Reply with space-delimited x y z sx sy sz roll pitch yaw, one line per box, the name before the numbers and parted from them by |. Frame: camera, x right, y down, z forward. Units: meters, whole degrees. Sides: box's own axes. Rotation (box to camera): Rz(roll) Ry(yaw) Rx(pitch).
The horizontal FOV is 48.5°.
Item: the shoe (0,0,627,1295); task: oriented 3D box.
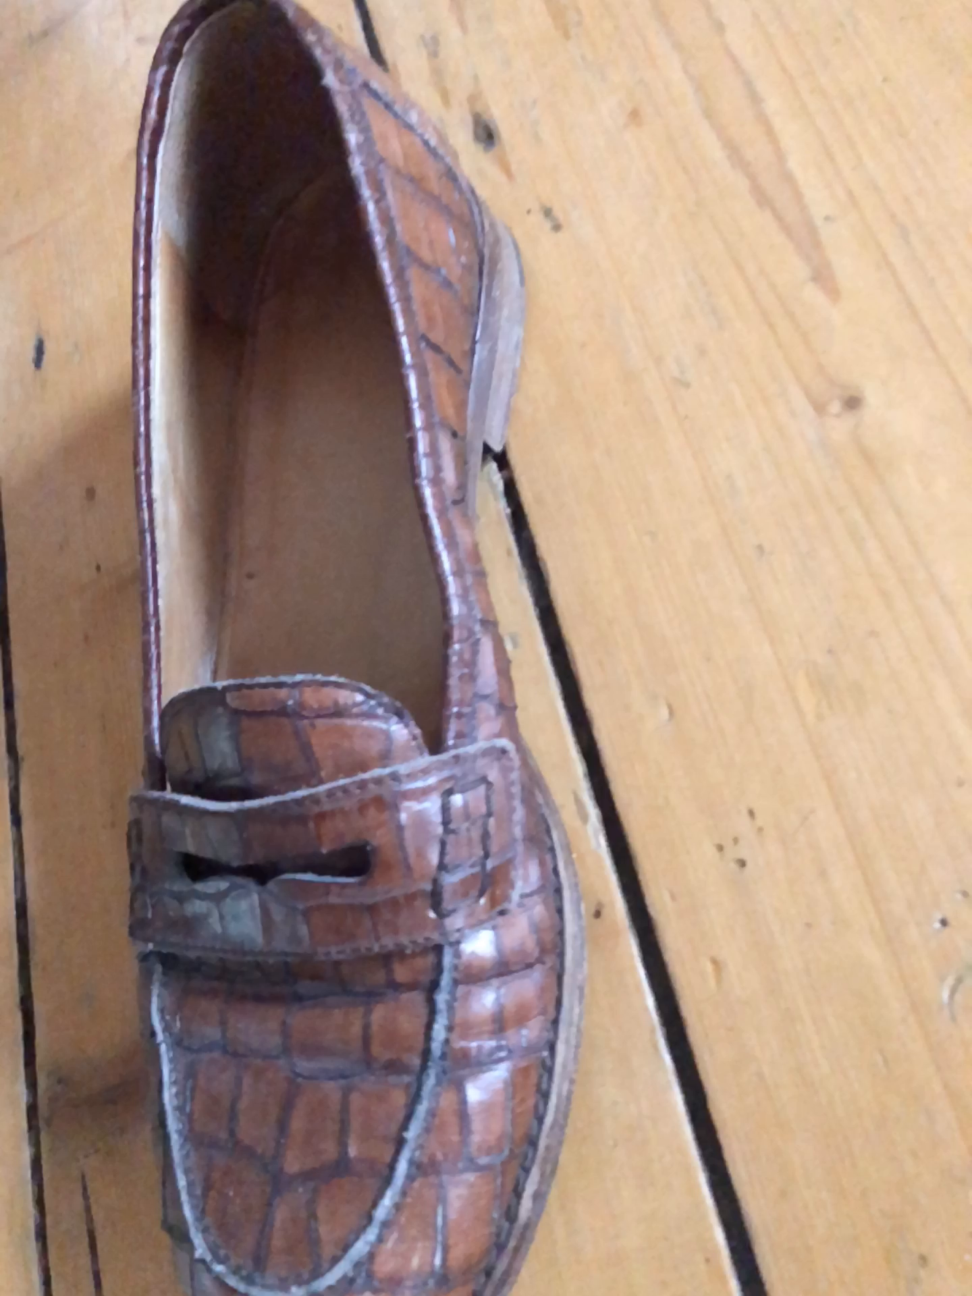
shoe | -0.033 -0.028 0.230 0.080 0.100 0.321 -10 68 22
